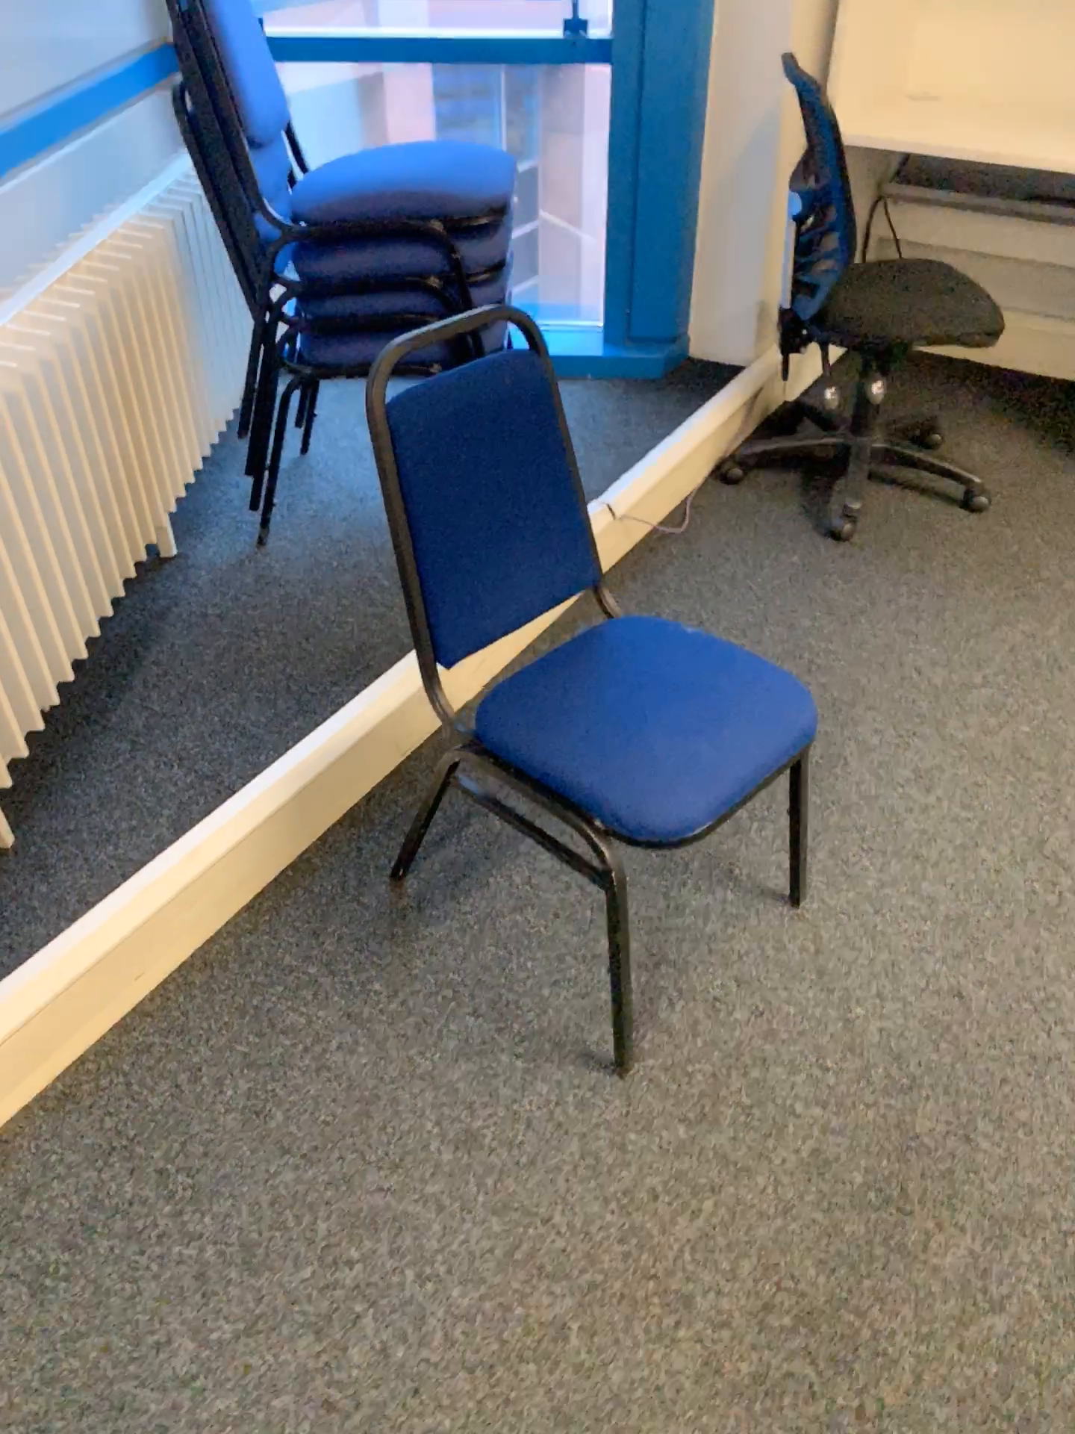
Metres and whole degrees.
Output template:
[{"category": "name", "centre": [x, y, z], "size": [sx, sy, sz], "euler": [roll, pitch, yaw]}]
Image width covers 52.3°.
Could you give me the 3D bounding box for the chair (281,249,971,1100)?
[{"category": "chair", "centre": [0.090, -0.066, 1.446], "size": [0.577, 0.843, 0.474], "euler": [31, 48, 33]}]
